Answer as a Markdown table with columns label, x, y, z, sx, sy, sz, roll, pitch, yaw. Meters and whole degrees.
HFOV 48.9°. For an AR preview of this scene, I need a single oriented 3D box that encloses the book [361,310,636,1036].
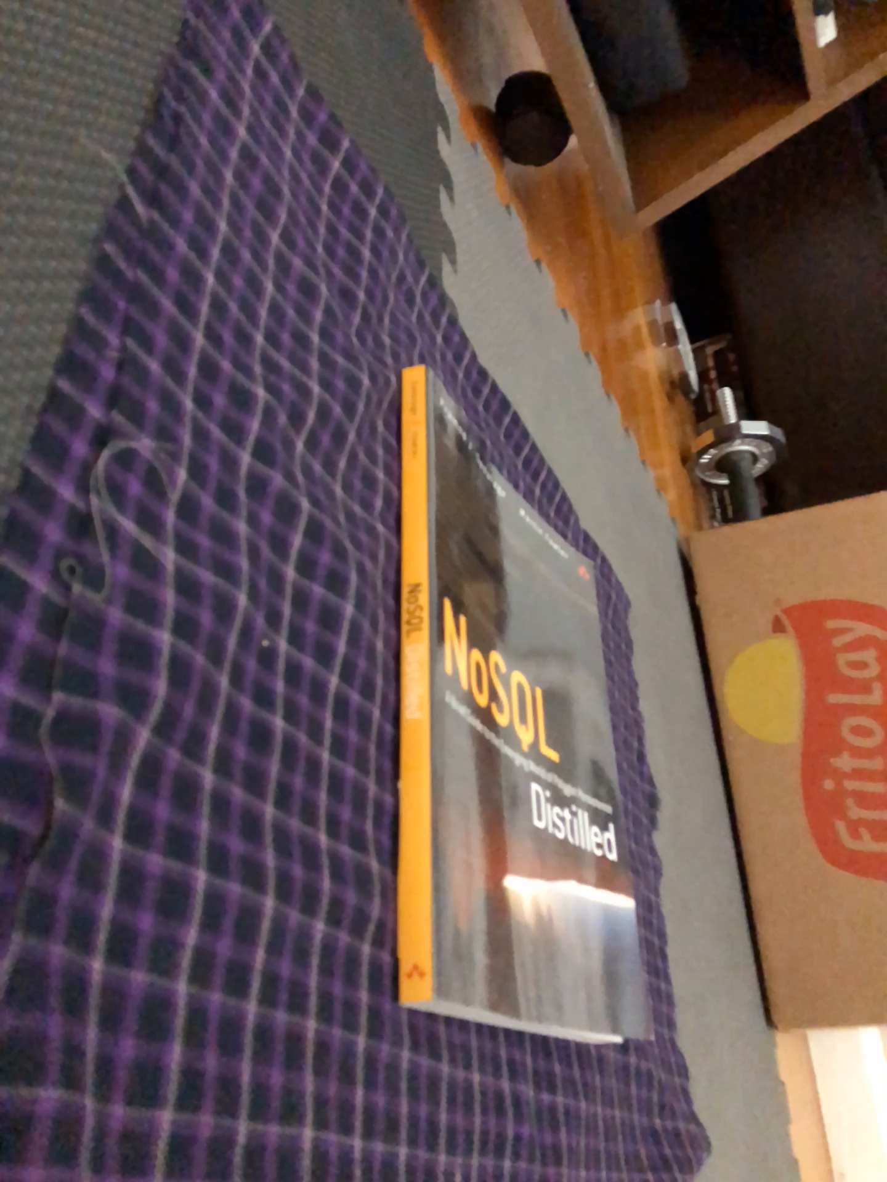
| label | x | y | z | sx | sy | sz | roll | pitch | yaw |
| --- | --- | --- | --- | --- | --- | --- | --- | --- | --- |
| book | 0.025 | 0.040 | 0.403 | 0.191 | 0.020 | 0.251 | 43 | 37 | -52 |
